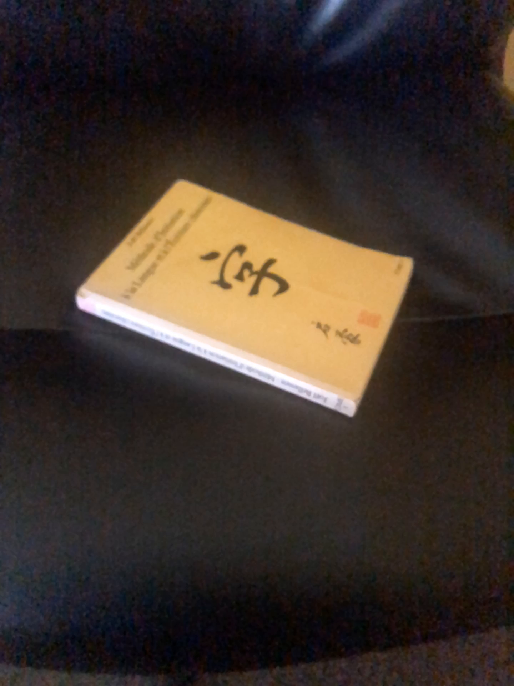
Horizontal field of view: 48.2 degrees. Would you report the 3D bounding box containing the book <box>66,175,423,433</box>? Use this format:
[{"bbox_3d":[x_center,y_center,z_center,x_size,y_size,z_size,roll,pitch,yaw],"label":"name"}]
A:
[{"bbox_3d":[-0.005,-0.043,0.437,0.220,0.028,0.153,21,56,15],"label":"book"}]
